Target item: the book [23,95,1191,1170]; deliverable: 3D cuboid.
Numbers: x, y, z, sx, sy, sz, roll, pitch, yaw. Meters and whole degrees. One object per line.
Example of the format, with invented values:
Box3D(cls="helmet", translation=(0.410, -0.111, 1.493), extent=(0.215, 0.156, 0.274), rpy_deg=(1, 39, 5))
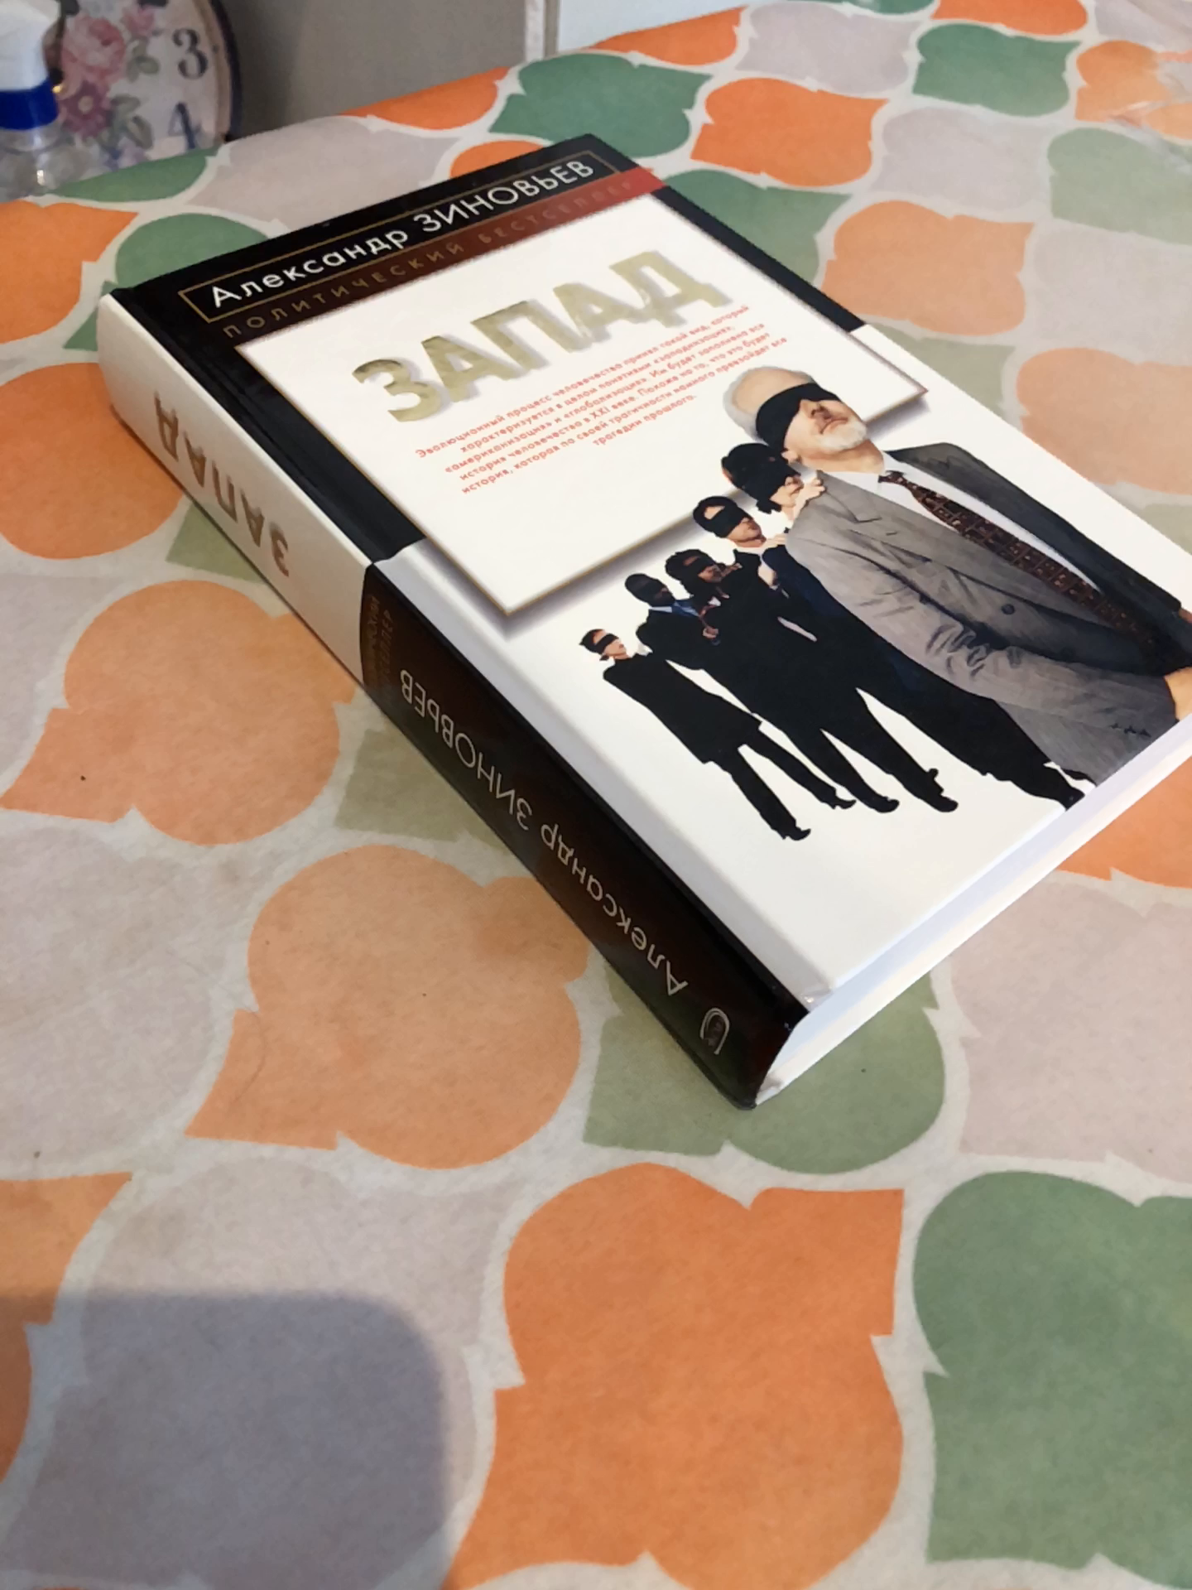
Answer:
Box3D(cls="book", translation=(0.006, -0.058, 0.269), extent=(0.140, 0.040, 0.221), rpy_deg=(-32, 62, -25))
